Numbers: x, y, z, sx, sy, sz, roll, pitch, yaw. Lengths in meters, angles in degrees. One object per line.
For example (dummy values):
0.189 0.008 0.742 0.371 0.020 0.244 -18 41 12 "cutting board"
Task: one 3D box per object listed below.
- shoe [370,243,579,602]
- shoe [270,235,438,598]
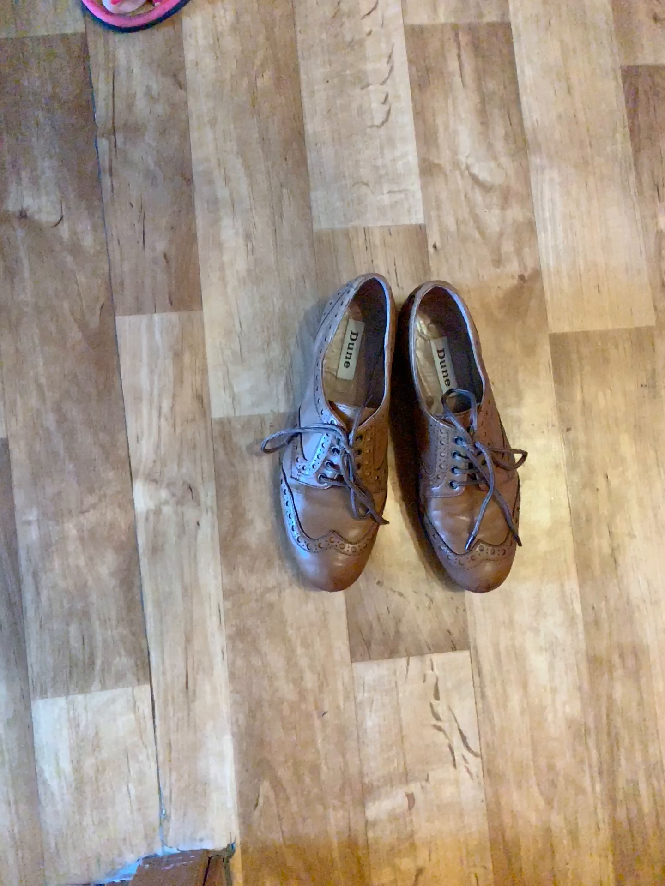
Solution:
0.097 -0.011 0.511 0.080 0.120 0.230 -11 85 -5 "shoe"
0.013 -0.015 0.521 0.090 0.120 0.240 7 84 -3 "shoe"
